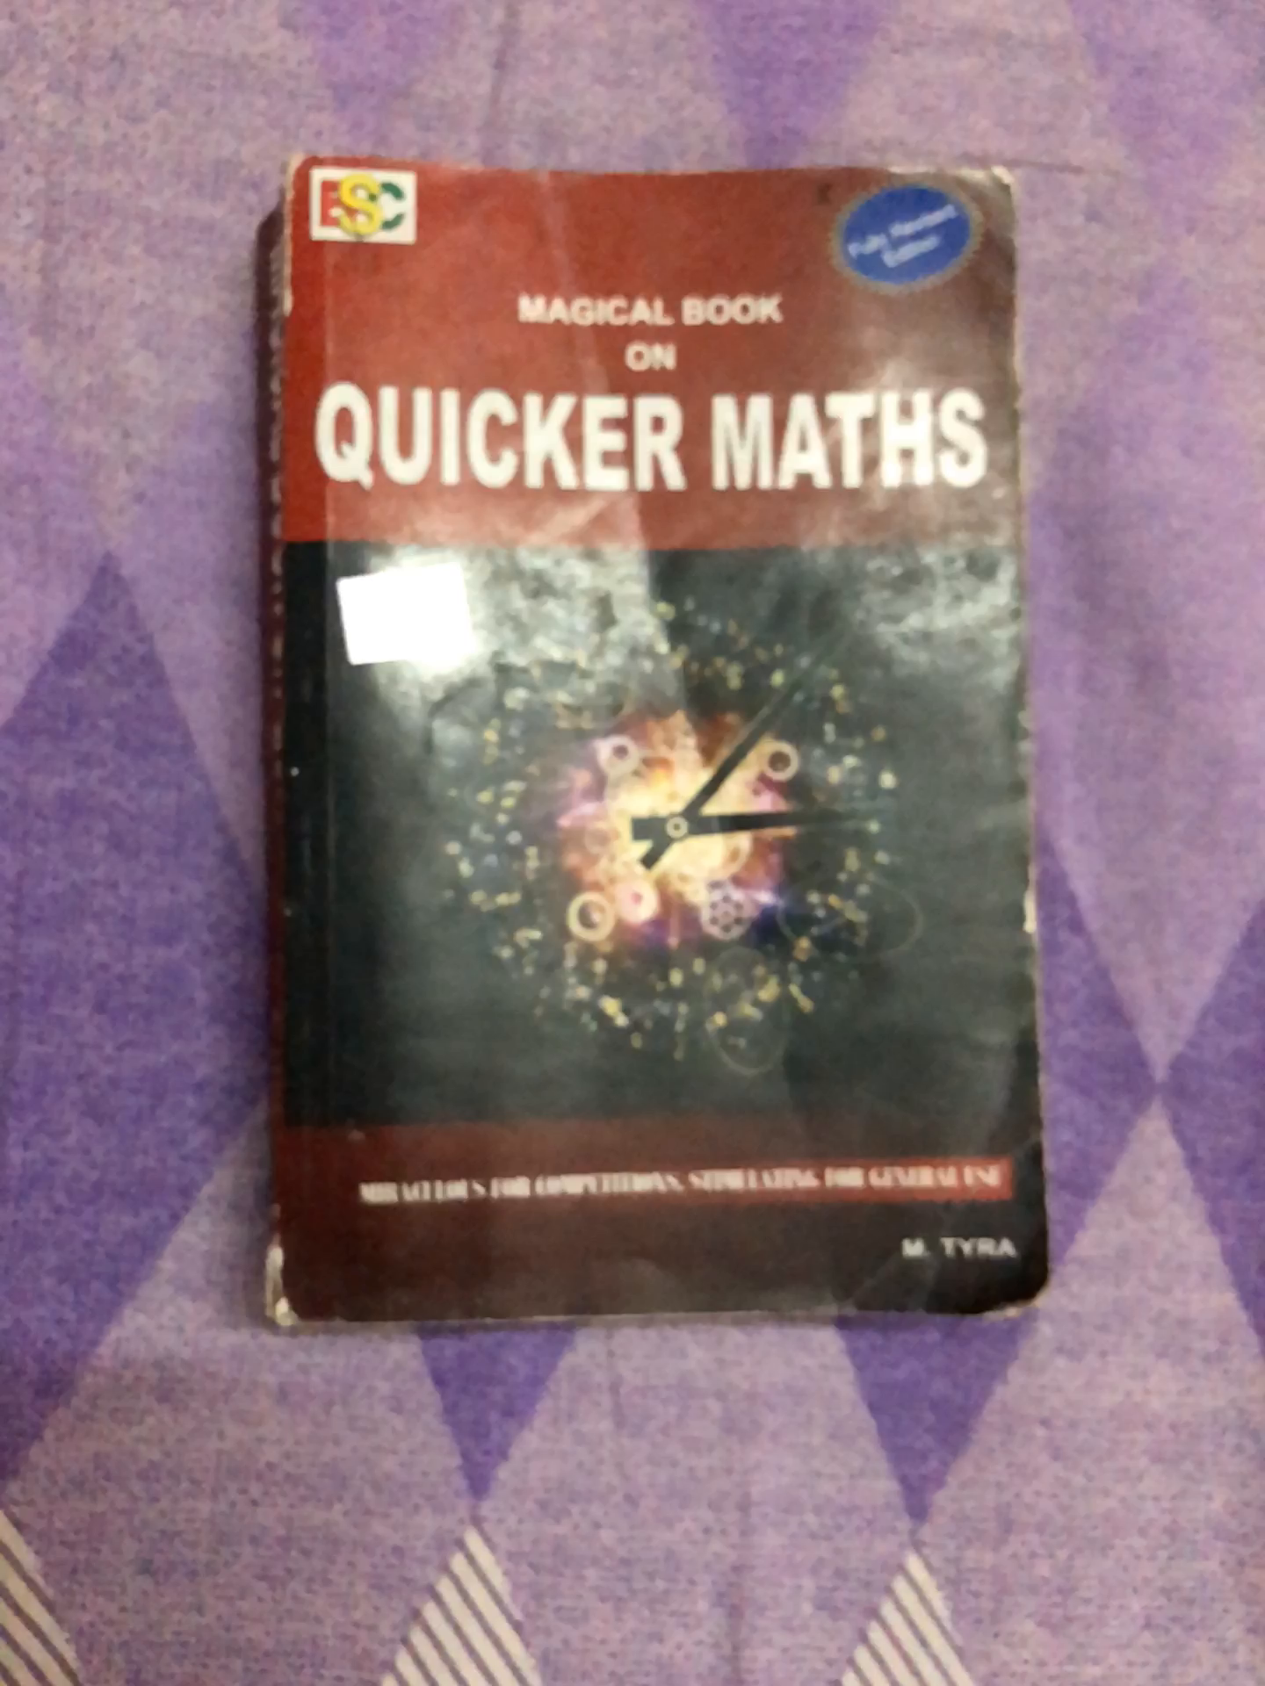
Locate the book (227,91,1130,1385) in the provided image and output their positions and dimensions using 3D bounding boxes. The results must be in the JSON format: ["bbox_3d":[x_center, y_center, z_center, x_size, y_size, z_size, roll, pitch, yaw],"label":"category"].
[{"bbox_3d":[0.005,-0.021,0.271,0.150,0.050,0.220,-1,85,-4],"label":"book"}]
